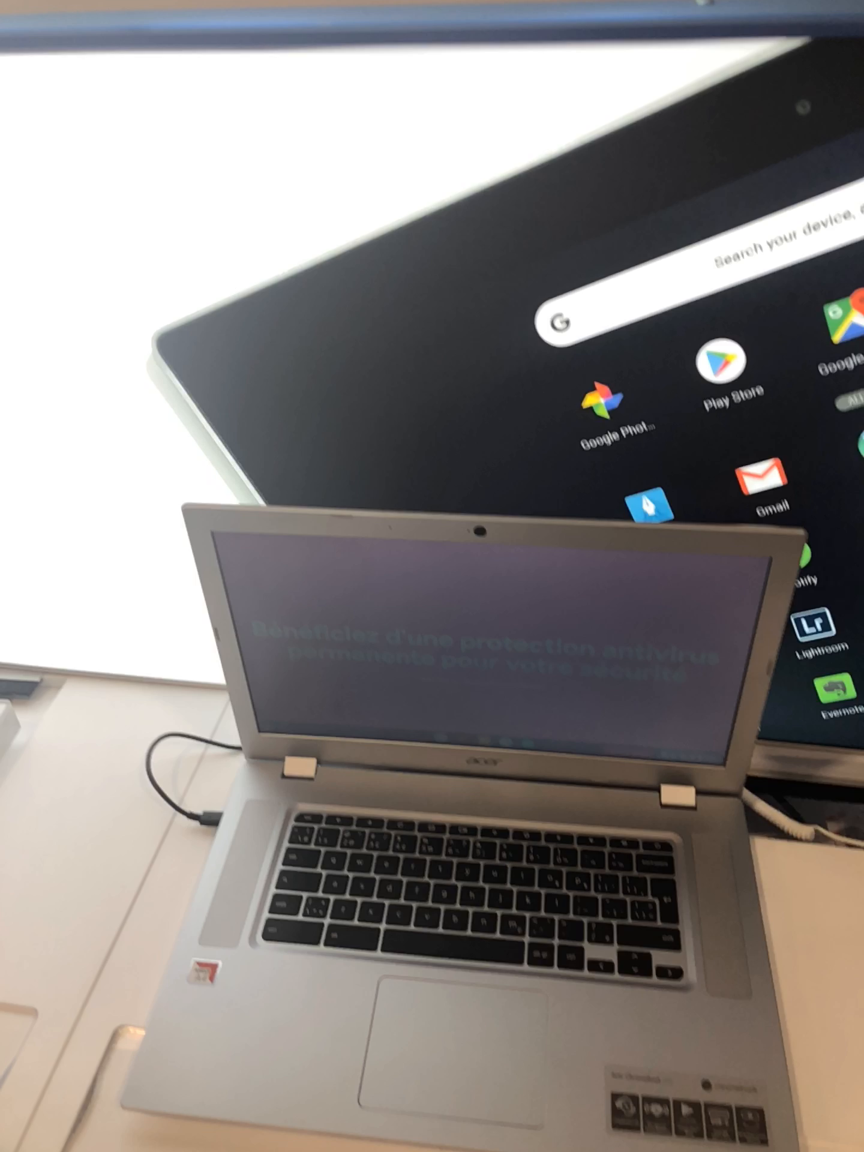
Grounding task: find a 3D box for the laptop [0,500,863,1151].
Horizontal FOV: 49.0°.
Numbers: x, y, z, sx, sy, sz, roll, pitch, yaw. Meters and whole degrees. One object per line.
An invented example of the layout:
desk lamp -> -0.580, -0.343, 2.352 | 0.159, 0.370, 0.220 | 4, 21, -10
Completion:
laptop -> 0.018, 0.137, 0.554 | 0.377, 0.250, 0.265 | 3, 38, 7
